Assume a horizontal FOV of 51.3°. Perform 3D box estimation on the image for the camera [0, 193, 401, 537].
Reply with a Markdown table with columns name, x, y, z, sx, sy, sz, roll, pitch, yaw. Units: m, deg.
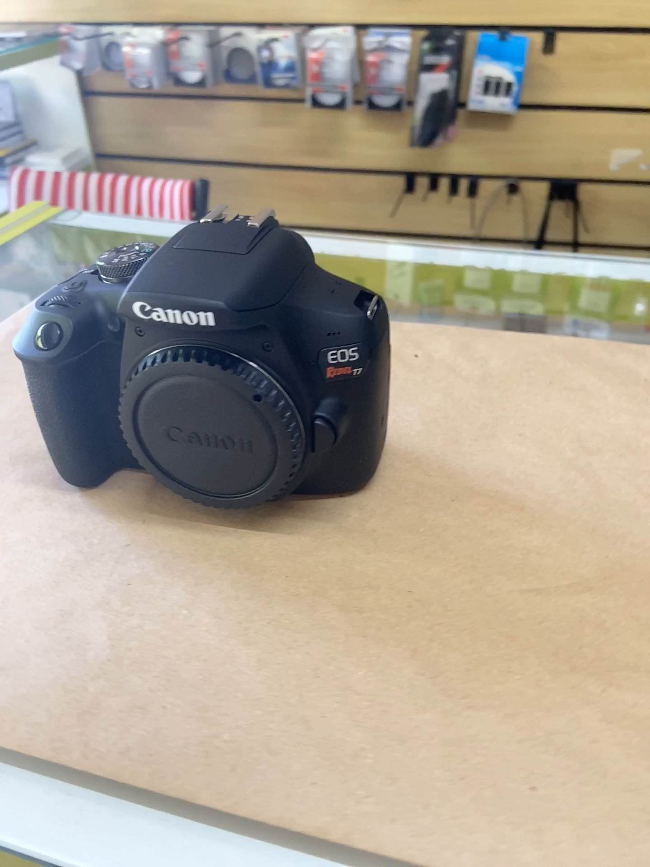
| name | x | y | z | sx | sy | sz | roll | pitch | yaw |
| --- | --- | --- | --- | --- | --- | --- | --- | --- | --- |
| camera | -0.044 | -0.030 | 0.257 | 0.130 | 0.092 | 0.072 | 8 | 37 | 14 |
